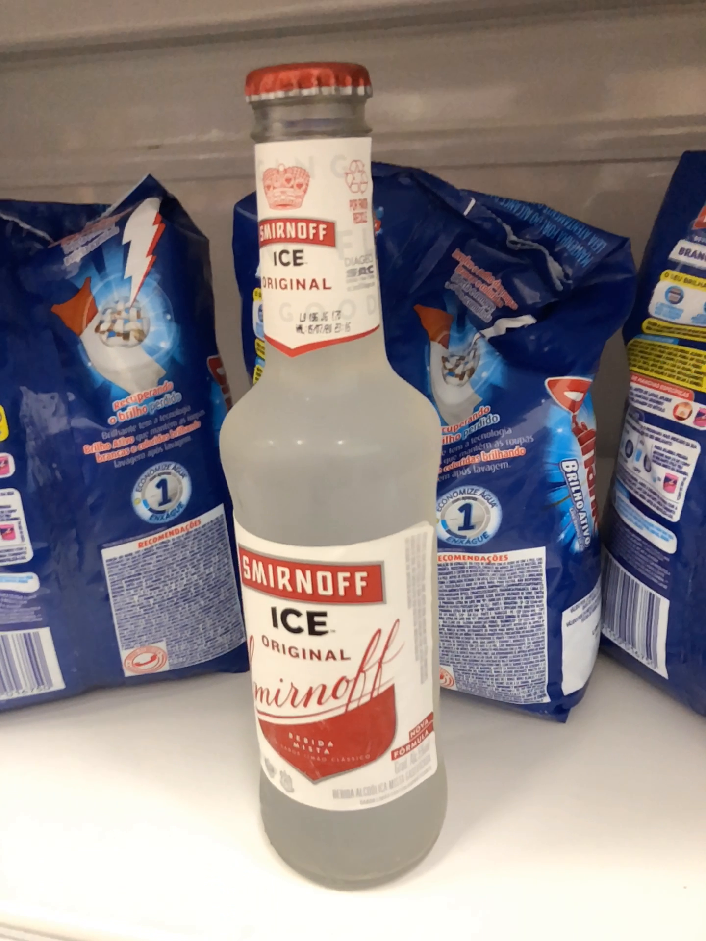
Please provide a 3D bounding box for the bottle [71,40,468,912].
[{"bbox_3d":[-0.011,0.008,0.214,0.070,0.209,0.060,5,22,20],"label":"bottle"}]
